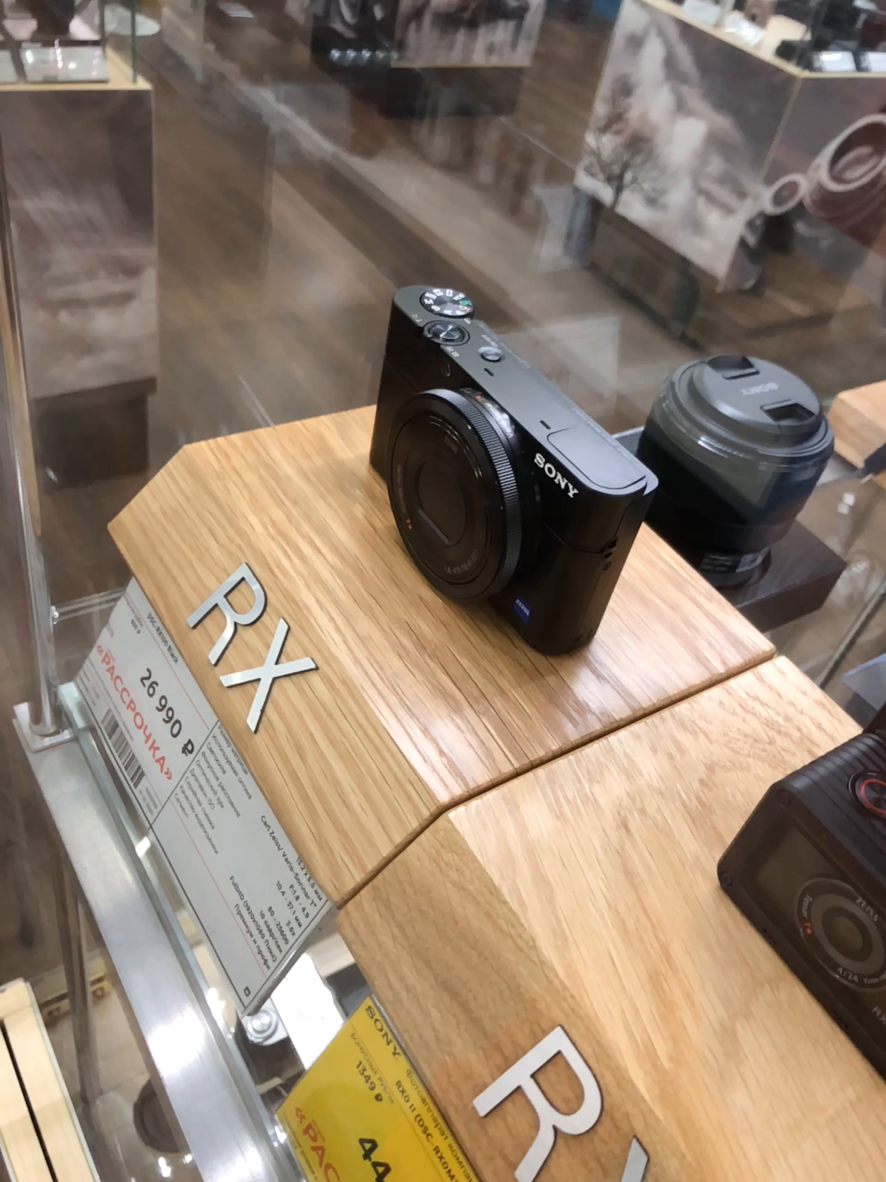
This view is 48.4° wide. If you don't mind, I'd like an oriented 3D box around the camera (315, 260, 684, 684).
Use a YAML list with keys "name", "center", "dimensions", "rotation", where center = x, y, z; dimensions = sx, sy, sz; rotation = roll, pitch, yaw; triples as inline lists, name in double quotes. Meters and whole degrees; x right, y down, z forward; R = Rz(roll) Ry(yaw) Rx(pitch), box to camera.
- name: "camera"
  center: [0.008, -0.037, 0.277]
  dimensions: [0.037, 0.062, 0.106]
  rotation: [-18, 51, -30]
